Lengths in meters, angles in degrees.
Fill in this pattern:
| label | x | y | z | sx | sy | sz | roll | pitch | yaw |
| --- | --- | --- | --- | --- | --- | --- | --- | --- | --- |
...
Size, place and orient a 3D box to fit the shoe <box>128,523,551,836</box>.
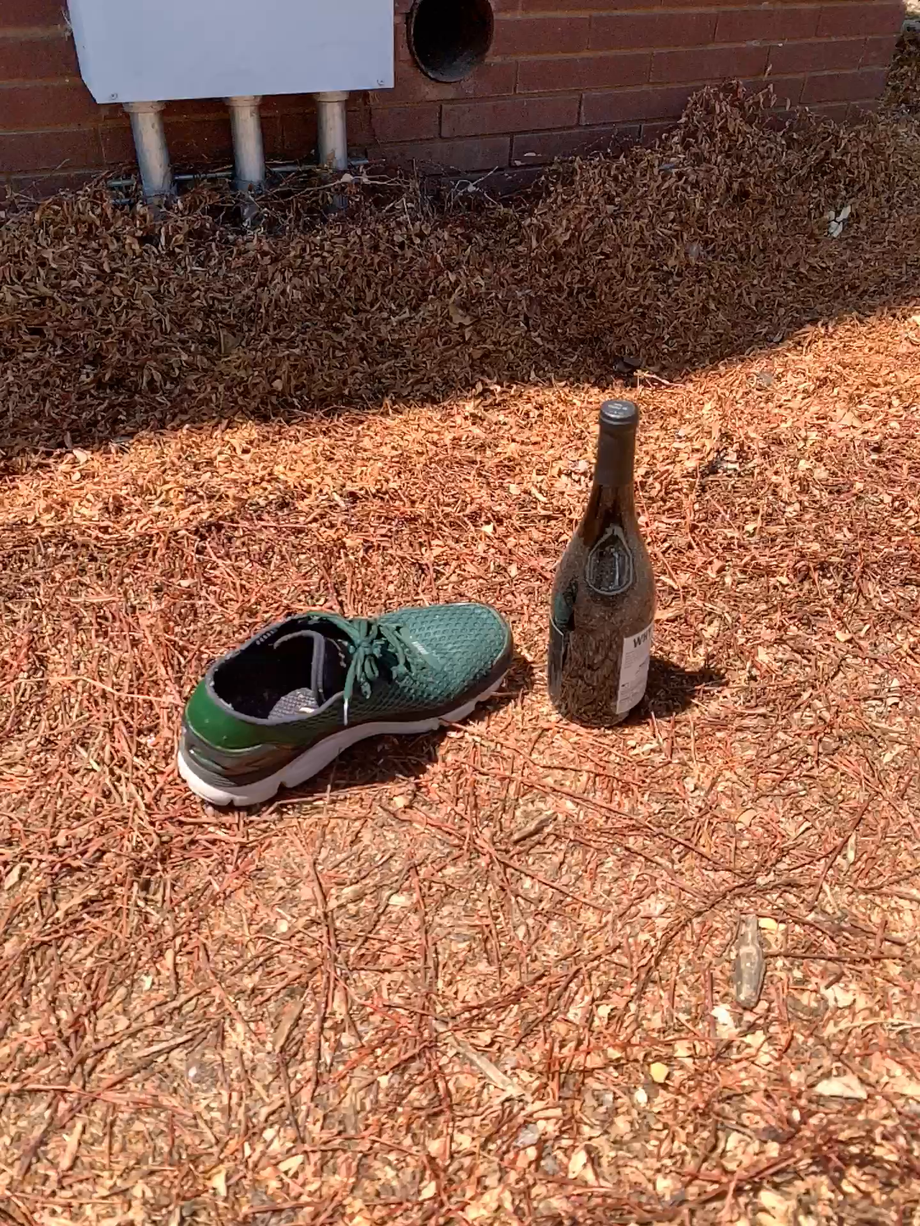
| label | x | y | z | sx | sy | sz | roll | pitch | yaw |
| --- | --- | --- | --- | --- | --- | --- | --- | --- | --- |
| shoe | -0.091 | 0.042 | 0.760 | 0.300 | 0.099 | 0.131 | -20 | 46 | -24 |
